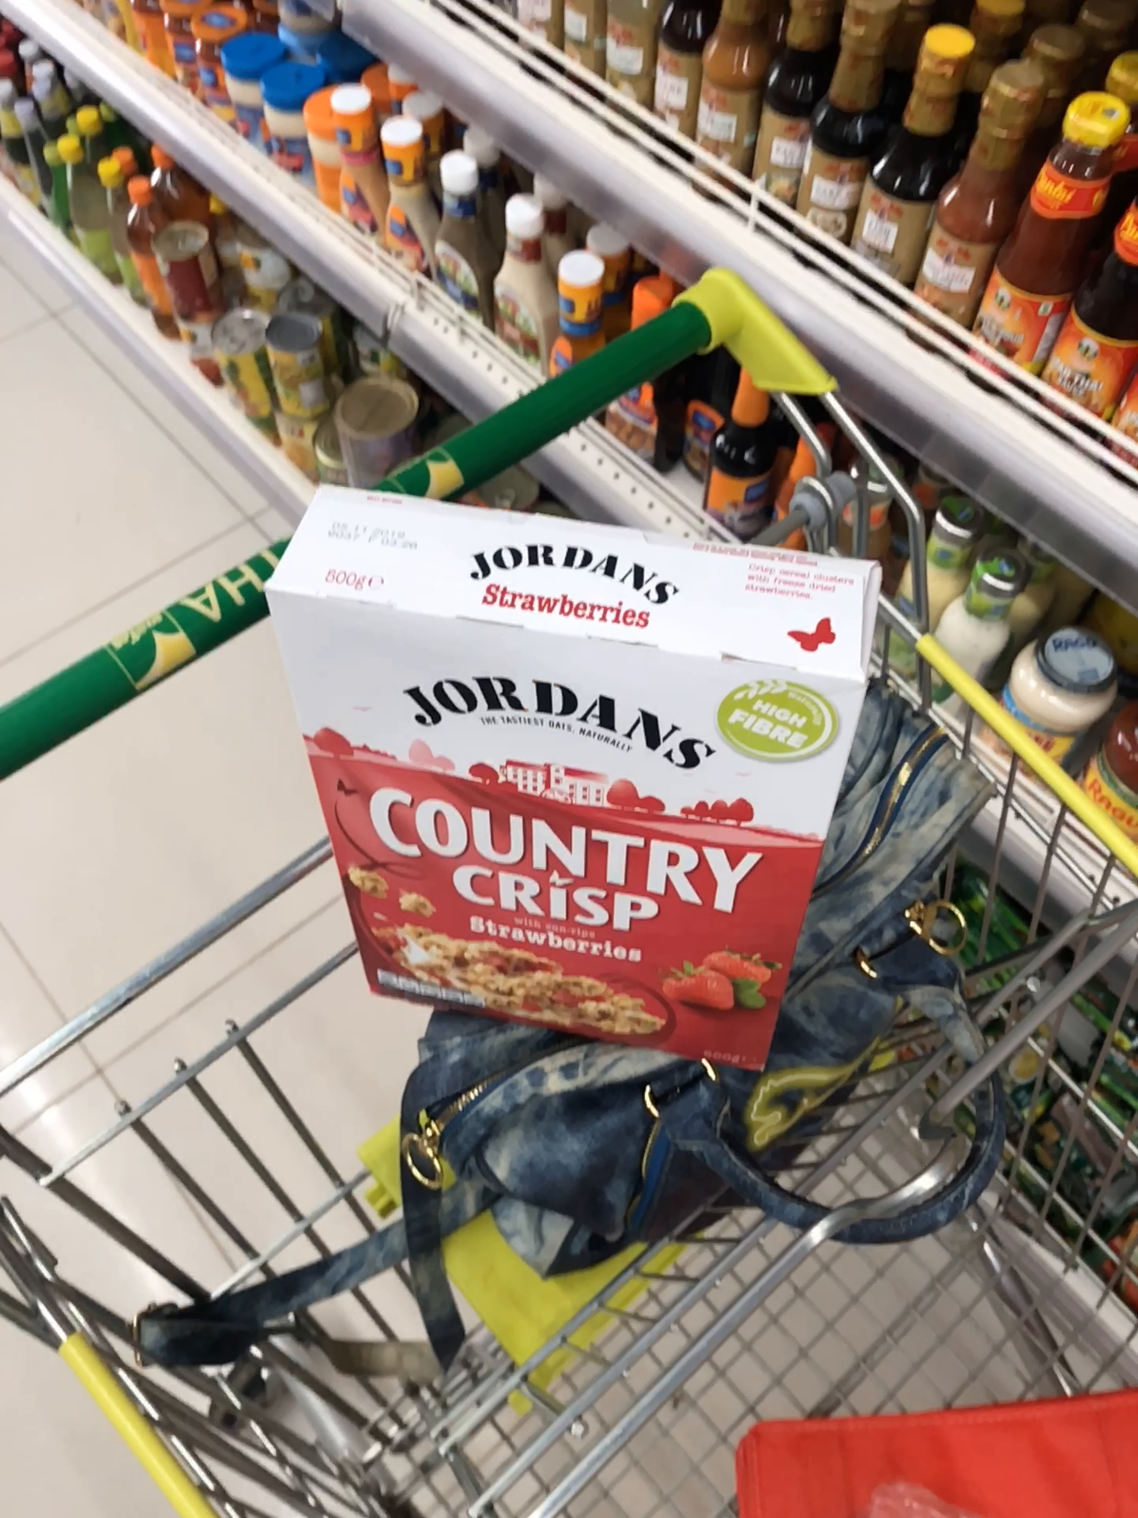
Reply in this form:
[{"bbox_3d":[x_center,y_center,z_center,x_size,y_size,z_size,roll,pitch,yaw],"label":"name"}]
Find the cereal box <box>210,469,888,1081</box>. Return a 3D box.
[{"bbox_3d":[-0.005,0.023,0.470,0.190,0.250,0.060,10,53,6],"label":"cereal box"}]
